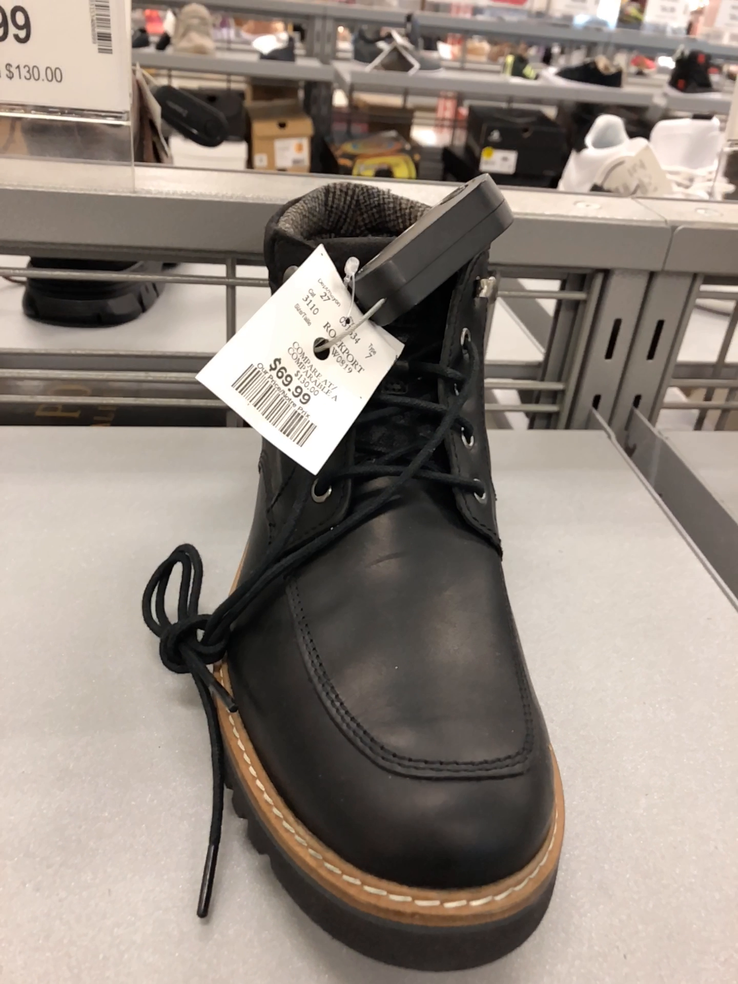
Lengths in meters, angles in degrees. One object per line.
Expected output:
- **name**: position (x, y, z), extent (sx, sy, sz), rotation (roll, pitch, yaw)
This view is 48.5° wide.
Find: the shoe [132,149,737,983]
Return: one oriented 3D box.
- **shoe**: position (-0.010, -0.007, 0.292), extent (0.120, 0.139, 0.282), rotation (-1, 37, -12)
